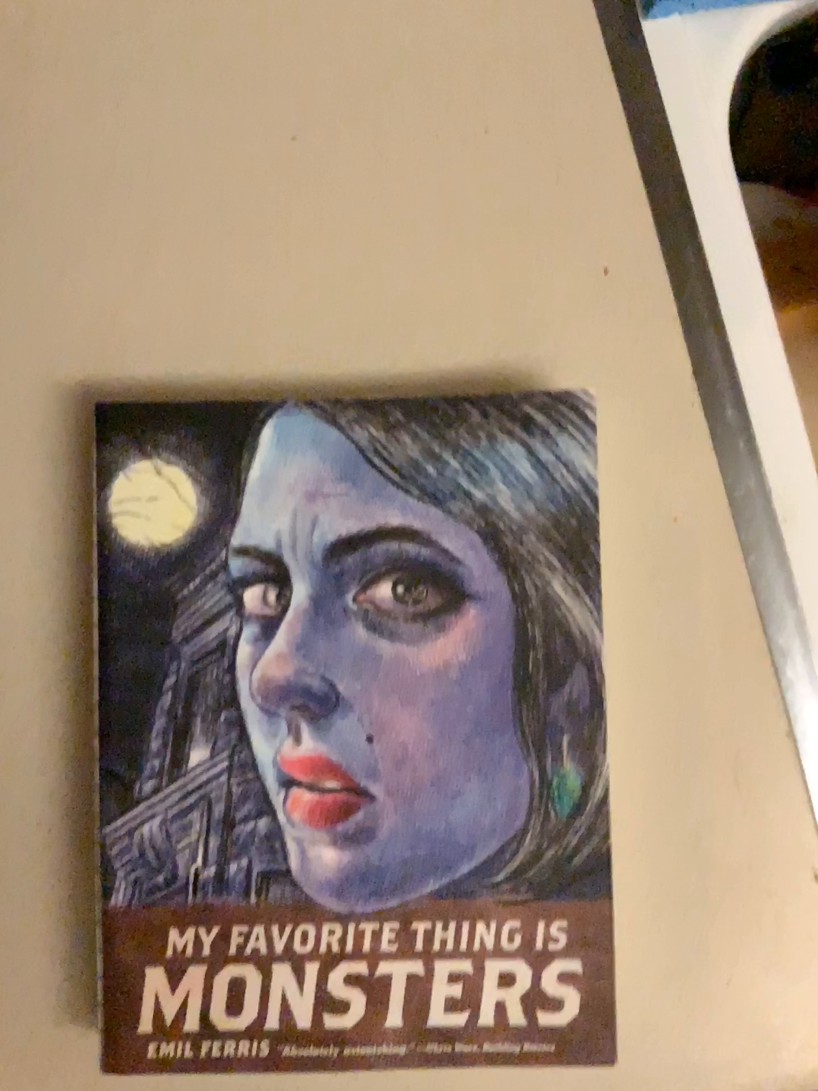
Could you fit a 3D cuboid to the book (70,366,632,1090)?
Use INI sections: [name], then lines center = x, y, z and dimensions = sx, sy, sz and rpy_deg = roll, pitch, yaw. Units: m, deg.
[book]
center = -0.024, 0.071, 0.363
dimensions = 0.200, 0.040, 0.270
rpy_deg = -2, 87, -1
